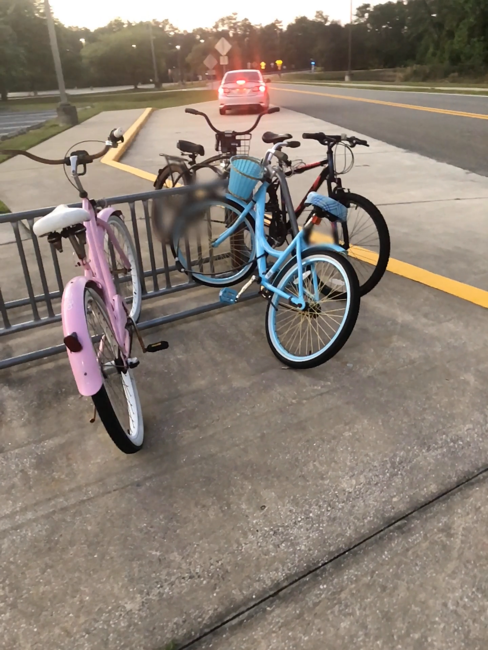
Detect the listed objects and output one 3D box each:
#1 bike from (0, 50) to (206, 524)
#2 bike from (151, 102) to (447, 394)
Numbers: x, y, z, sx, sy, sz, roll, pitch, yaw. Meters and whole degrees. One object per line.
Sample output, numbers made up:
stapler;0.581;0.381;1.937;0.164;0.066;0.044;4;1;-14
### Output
bike;-0.680;-0.371;2.273;0.771;1.146;1.616;-7;32;-7
bike;0.203;-0.514;2.819;0.584;0.953;1.423;-20;36;-31
